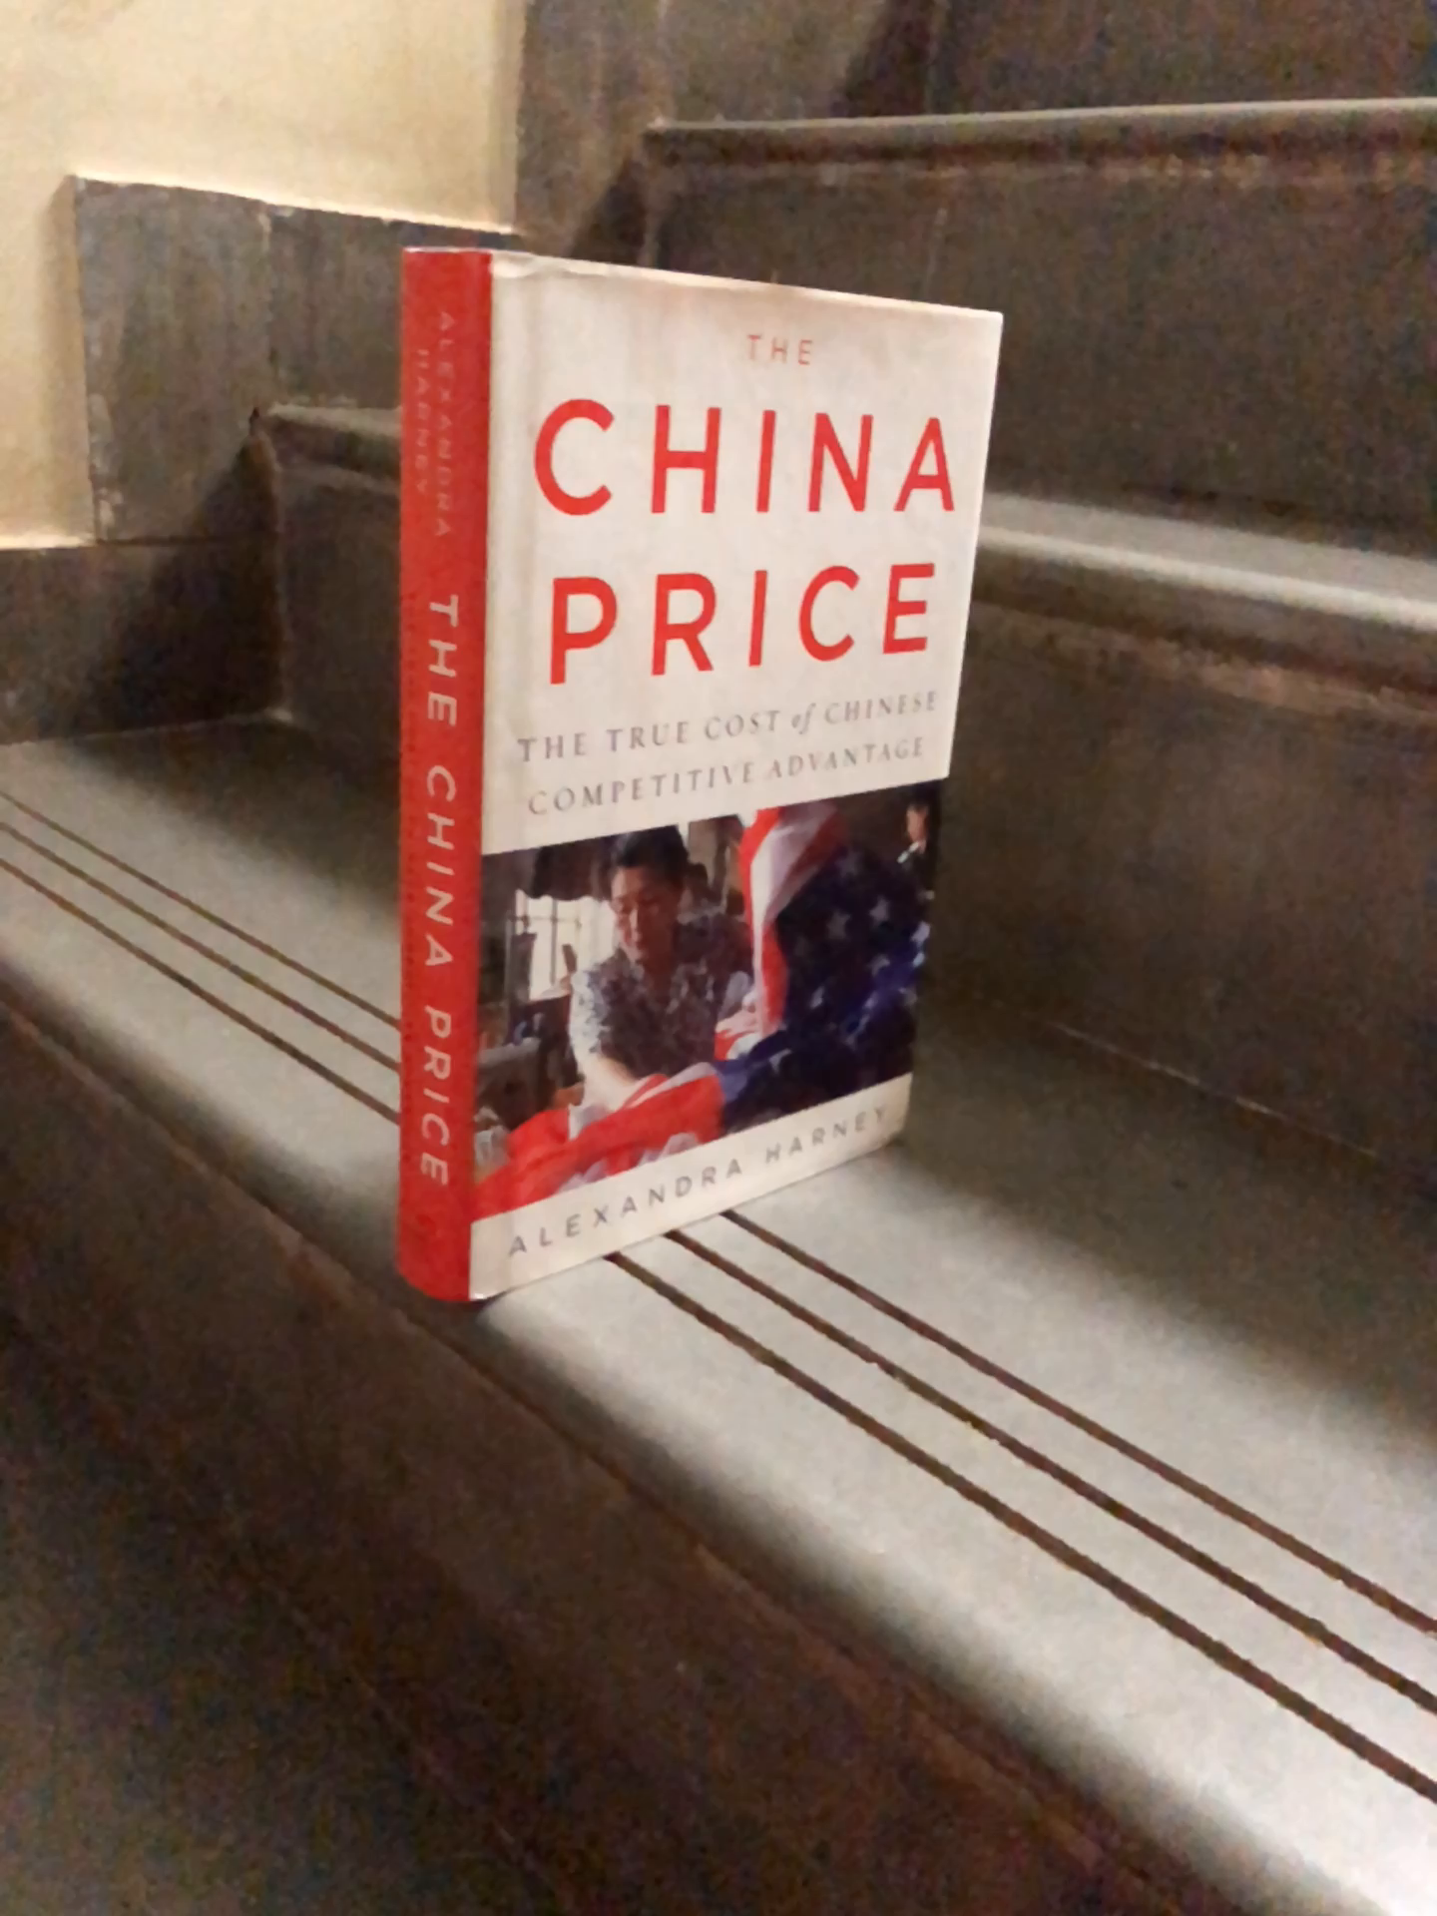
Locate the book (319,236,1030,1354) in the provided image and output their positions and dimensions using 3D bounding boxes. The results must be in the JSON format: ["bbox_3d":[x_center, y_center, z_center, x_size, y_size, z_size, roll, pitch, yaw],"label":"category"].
[{"bbox_3d":[-0.006,-0.044,0.405,0.180,0.239,0.040,-15,27,-41],"label":"book"}]
